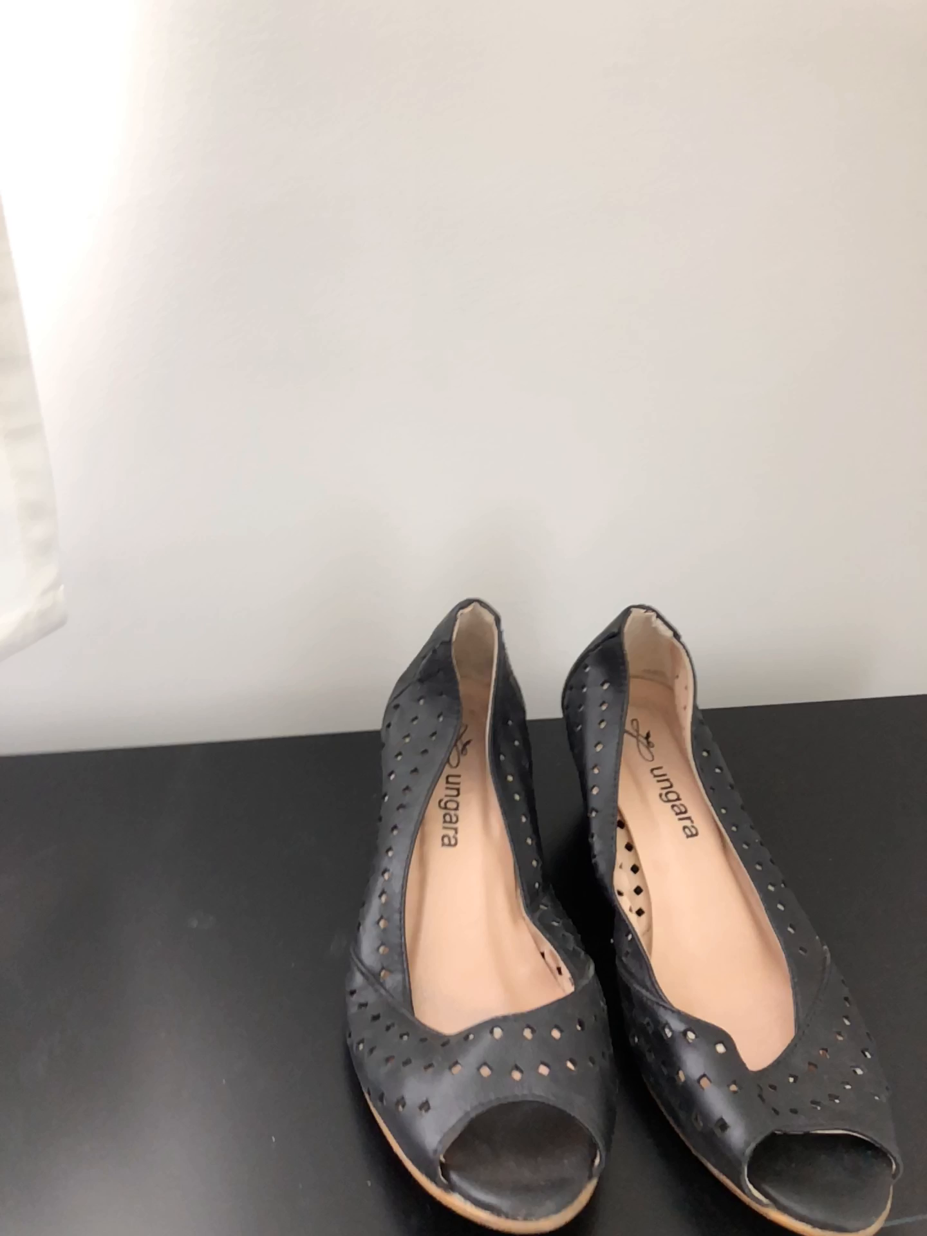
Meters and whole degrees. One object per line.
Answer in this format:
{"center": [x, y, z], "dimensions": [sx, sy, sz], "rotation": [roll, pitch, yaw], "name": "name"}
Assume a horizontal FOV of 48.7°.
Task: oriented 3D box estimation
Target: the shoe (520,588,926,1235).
{"center": [0.092, 0.088, 0.359], "dimensions": [0.085, 0.100, 0.221], "rotation": [-3, 31, -11], "name": "shoe"}

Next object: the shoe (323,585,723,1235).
{"center": [-0.001, 0.088, 0.363], "dimensions": [0.085, 0.100, 0.231], "rotation": [-2, 31, -10], "name": "shoe"}
